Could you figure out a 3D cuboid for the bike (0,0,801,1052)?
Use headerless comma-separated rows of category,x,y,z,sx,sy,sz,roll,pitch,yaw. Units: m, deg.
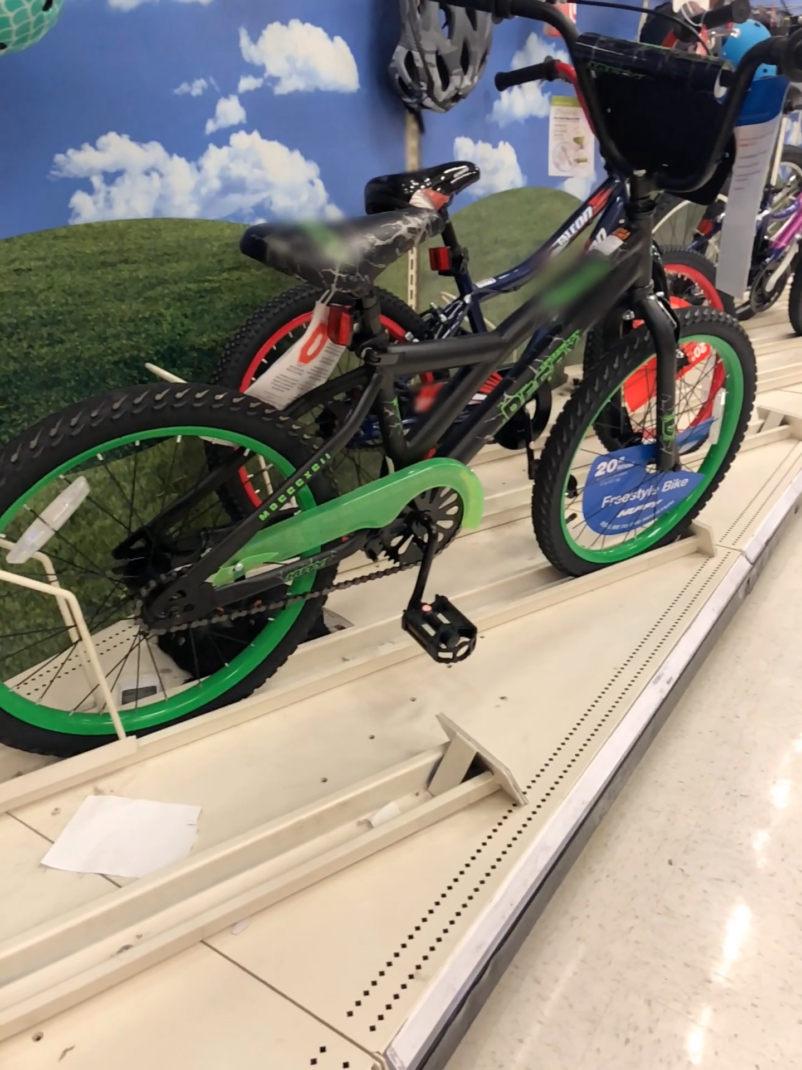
bike,0.066,-0.256,1.167,1.366,0.879,0.629,-17,30,-32
